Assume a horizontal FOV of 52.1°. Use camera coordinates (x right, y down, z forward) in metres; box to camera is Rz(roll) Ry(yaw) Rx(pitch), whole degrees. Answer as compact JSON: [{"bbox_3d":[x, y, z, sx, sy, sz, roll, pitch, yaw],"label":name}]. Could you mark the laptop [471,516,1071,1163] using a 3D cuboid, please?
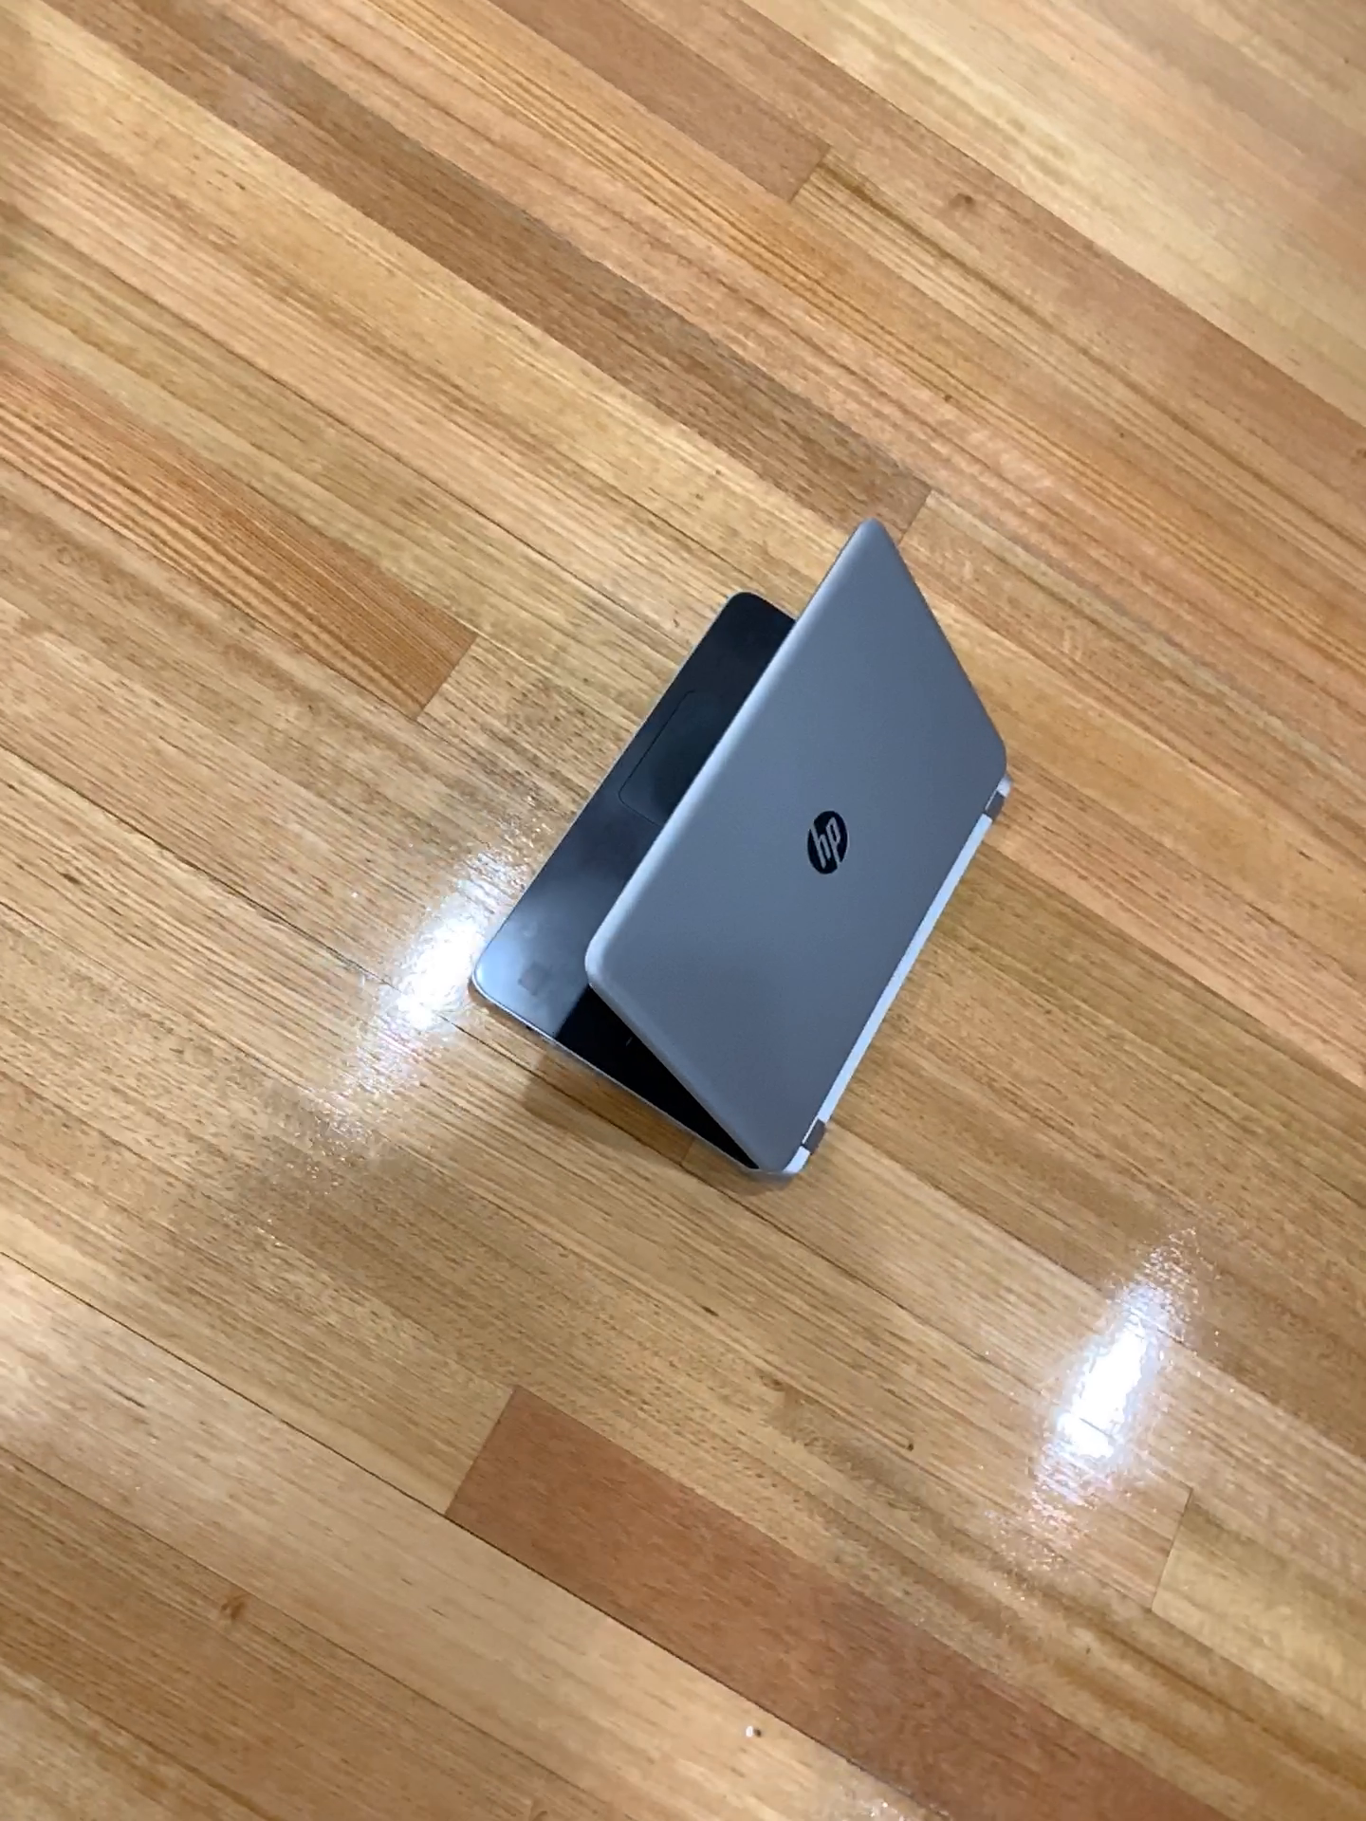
[{"bbox_3d":[0.060,-0.045,0.857,0.209,0.102,0.333,34,68,-4],"label":"laptop"}]
